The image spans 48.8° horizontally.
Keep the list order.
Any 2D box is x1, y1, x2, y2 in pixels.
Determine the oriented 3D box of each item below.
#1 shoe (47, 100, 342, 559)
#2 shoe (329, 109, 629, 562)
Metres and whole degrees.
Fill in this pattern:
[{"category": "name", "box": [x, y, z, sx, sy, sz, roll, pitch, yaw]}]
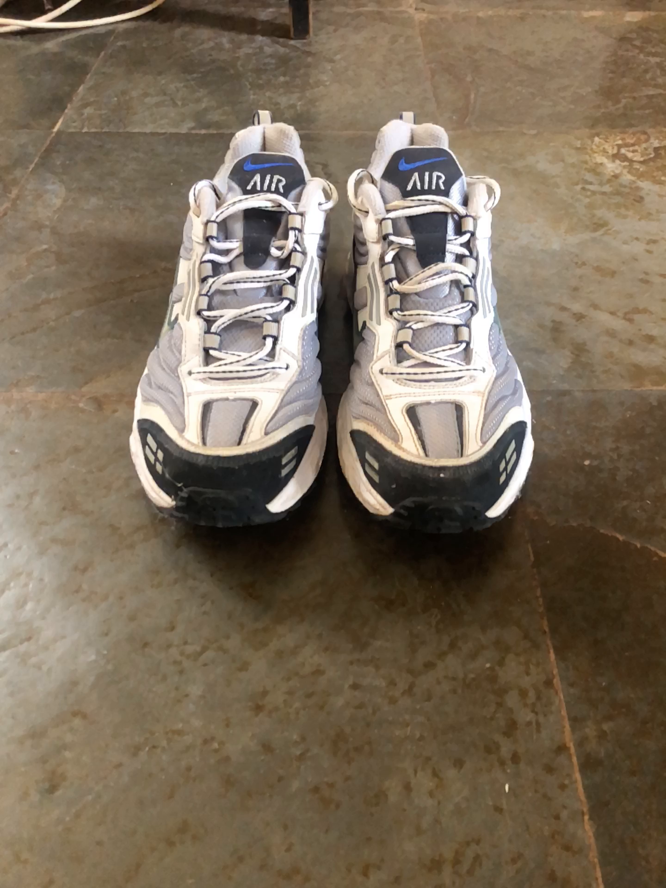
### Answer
[{"category": "shoe", "box": [-0.053, -0.079, 0.409, 0.110, 0.119, 0.262, 0, 46, -1]}, {"category": "shoe", "box": [0.053, -0.076, 0.402, 0.110, 0.109, 0.262, 0, 46, -1]}]
